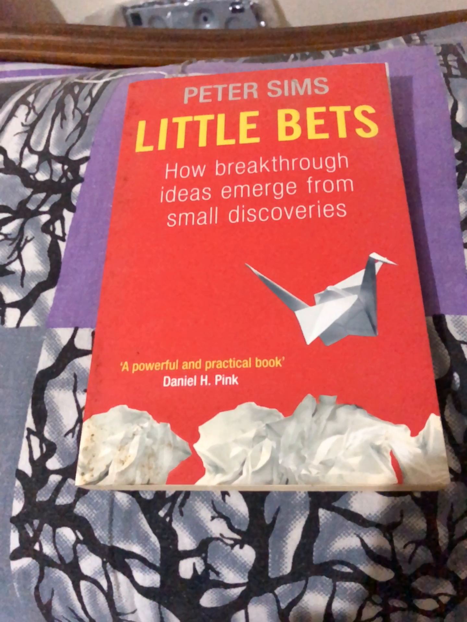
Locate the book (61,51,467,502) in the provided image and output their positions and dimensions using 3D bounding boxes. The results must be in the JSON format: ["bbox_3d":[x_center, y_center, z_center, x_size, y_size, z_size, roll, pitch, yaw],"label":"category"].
[{"bbox_3d":[0.011,-0.034,0.258,0.150,0.020,0.240,-3,61,7],"label":"book"}]
